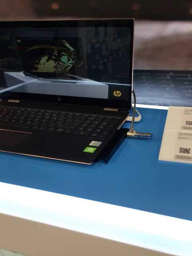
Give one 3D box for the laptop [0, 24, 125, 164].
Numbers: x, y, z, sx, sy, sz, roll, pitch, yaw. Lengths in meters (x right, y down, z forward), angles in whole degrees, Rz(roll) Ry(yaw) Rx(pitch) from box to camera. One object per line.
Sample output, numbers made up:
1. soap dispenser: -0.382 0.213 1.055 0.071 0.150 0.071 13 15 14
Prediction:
1. laptop: -0.173 -0.097 0.534 0.386 0.212 0.259 8 32 17
